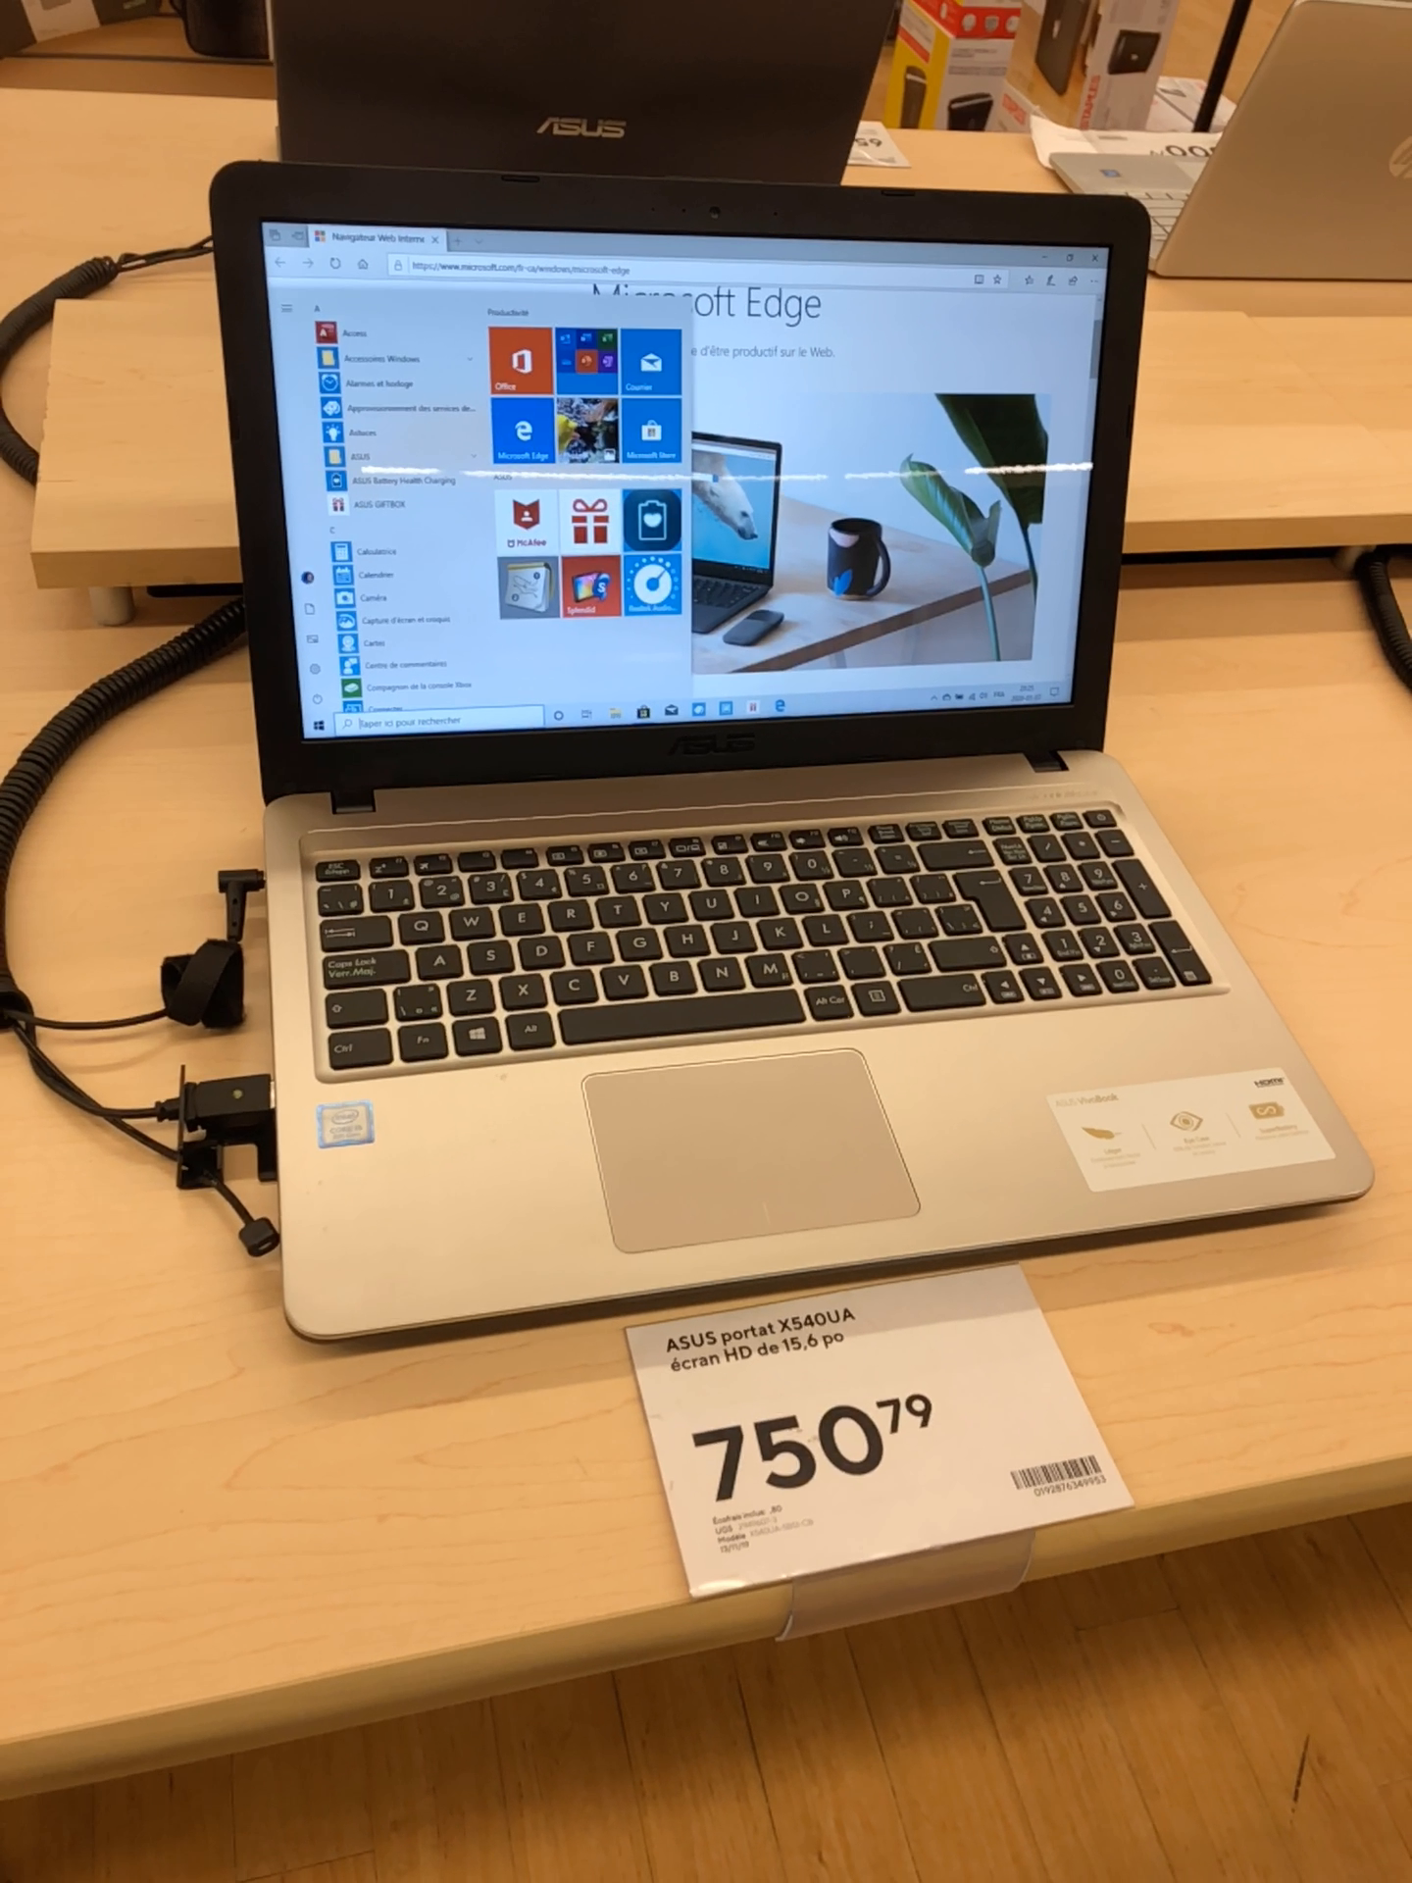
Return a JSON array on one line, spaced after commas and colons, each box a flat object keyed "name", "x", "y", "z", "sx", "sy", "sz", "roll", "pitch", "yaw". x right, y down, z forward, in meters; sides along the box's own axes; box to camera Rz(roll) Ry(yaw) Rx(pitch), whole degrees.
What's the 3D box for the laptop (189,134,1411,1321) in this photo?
[{"name": "laptop", "x": 0.026, "y": -0.103, "z": 0.580, "sx": 0.383, "sy": 0.215, "sz": 0.360, "roll": -5, "pitch": 48, "yaw": -15}]
